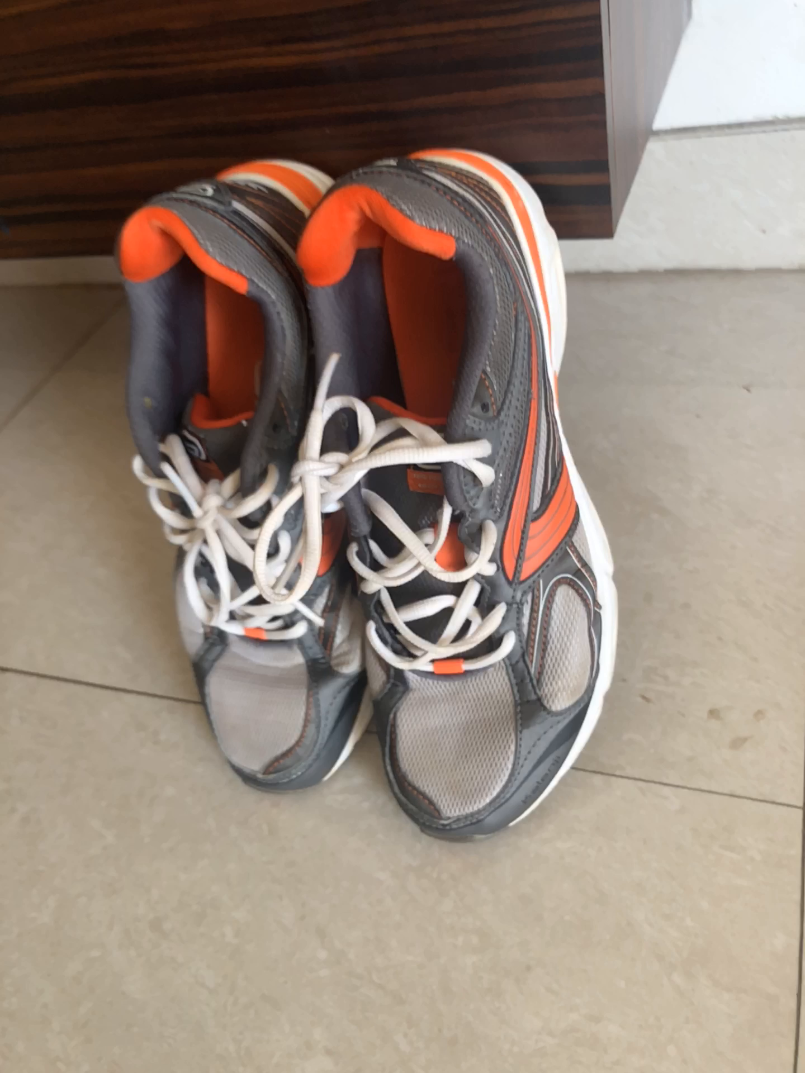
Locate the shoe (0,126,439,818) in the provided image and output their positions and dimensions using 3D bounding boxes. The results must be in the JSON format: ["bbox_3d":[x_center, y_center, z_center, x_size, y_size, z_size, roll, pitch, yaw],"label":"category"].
[{"bbox_3d":[-0.065,-0.025,0.397,0.120,0.269,0.100,0,21,16],"label":"shoe"}]

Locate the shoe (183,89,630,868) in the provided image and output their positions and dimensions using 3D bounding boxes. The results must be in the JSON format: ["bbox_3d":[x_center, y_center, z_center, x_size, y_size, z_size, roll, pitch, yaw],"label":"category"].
[{"bbox_3d":[0.017,-0.022,0.361,0.120,0.259,0.110,2,19,24],"label":"shoe"}]
